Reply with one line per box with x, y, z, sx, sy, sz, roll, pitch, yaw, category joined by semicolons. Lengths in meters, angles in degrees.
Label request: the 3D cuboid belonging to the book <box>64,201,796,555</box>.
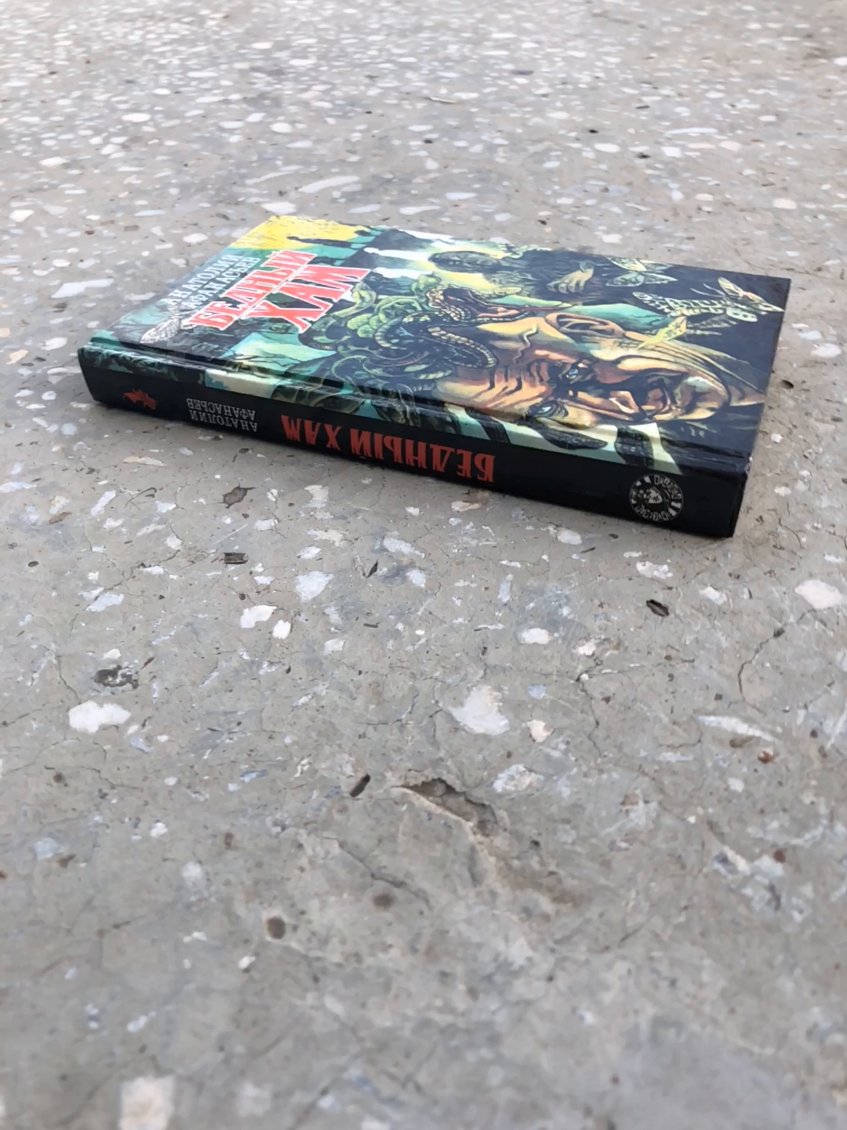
0.011;-0.076;0.315;0.201;0.020;0.143;14;41;17;book
